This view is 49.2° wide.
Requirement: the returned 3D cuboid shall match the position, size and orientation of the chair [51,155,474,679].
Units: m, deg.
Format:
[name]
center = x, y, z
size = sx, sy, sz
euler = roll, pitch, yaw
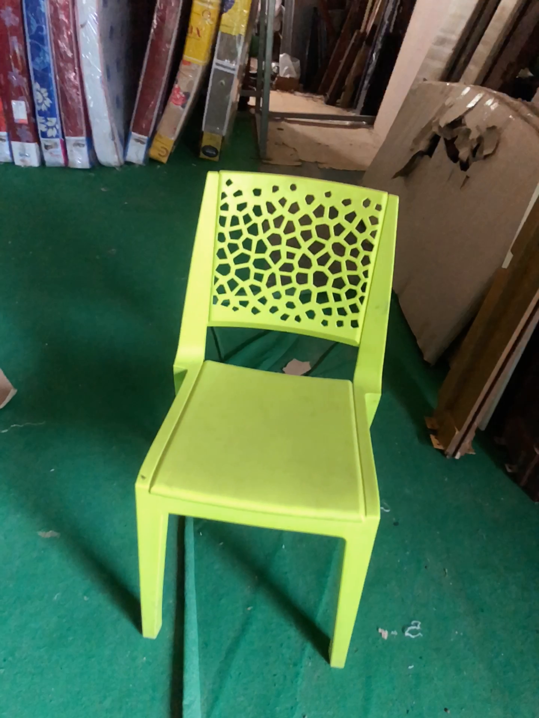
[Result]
[chair]
center = 0.000, 0.085, 1.209
size = 0.530, 0.776, 0.644
euler = 7, 33, 4
